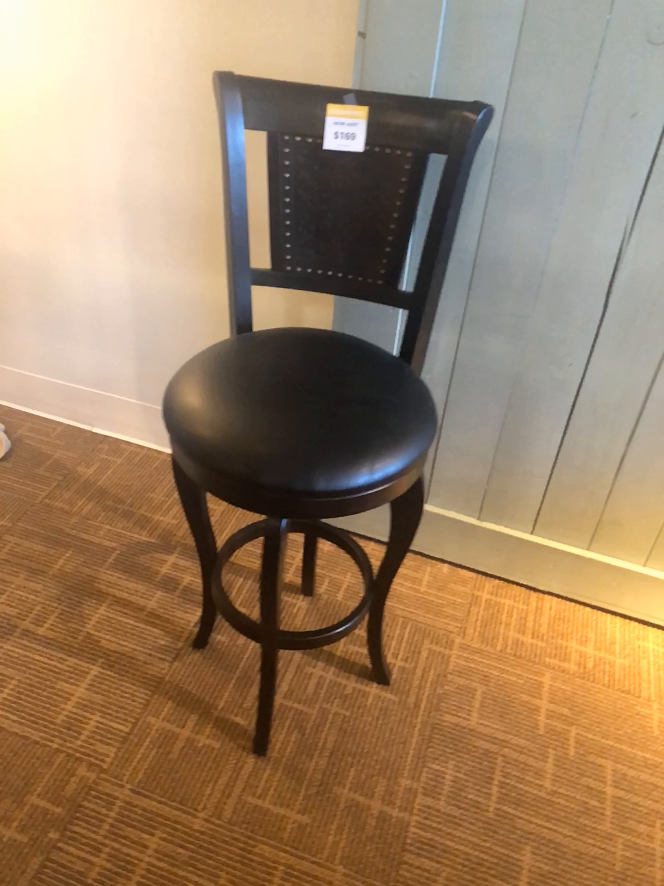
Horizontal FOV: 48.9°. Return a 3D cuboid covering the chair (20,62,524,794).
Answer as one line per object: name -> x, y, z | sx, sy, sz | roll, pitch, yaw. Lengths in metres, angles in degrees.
chair -> -0.064, -0.002, 1.384 | 0.560, 1.150, 0.613 | 12, 36, 8
